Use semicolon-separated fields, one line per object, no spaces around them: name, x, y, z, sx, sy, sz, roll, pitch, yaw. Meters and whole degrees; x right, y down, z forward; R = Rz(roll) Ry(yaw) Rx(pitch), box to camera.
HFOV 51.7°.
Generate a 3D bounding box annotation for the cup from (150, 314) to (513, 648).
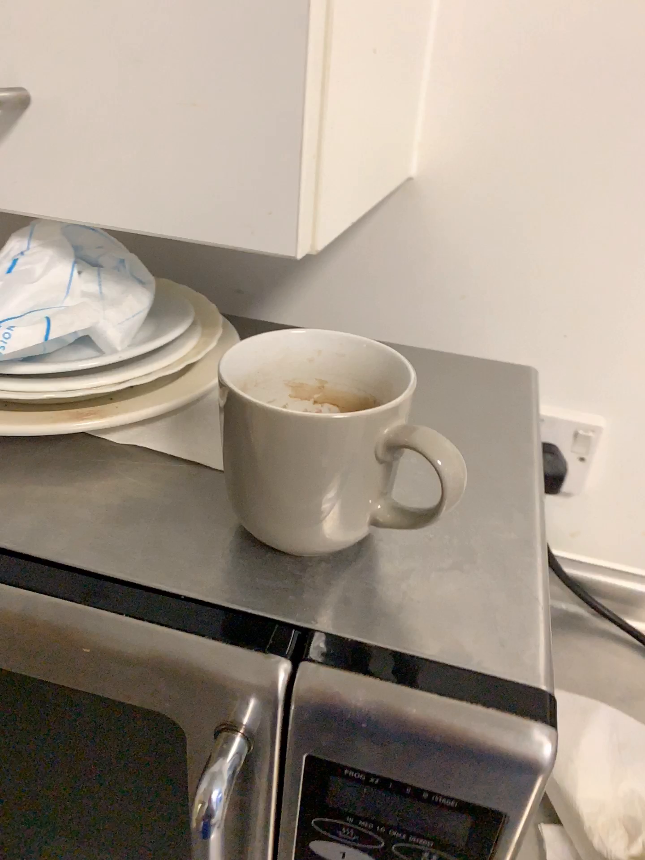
cup;0.004;0.012;0.308;0.124;0.079;0.102;20;33;26
